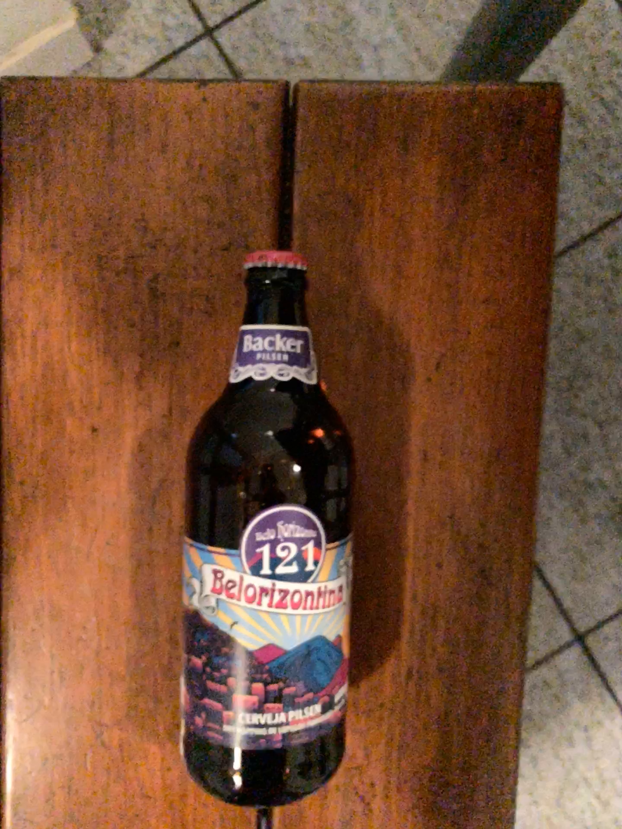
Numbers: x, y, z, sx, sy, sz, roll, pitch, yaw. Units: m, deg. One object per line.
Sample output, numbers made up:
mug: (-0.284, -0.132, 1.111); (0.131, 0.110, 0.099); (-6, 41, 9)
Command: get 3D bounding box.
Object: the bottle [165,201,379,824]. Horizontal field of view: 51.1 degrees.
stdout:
bottle: (-0.018, 0.040, 0.278); (0.080, 0.050, 0.240); (-1, 95, -10)
